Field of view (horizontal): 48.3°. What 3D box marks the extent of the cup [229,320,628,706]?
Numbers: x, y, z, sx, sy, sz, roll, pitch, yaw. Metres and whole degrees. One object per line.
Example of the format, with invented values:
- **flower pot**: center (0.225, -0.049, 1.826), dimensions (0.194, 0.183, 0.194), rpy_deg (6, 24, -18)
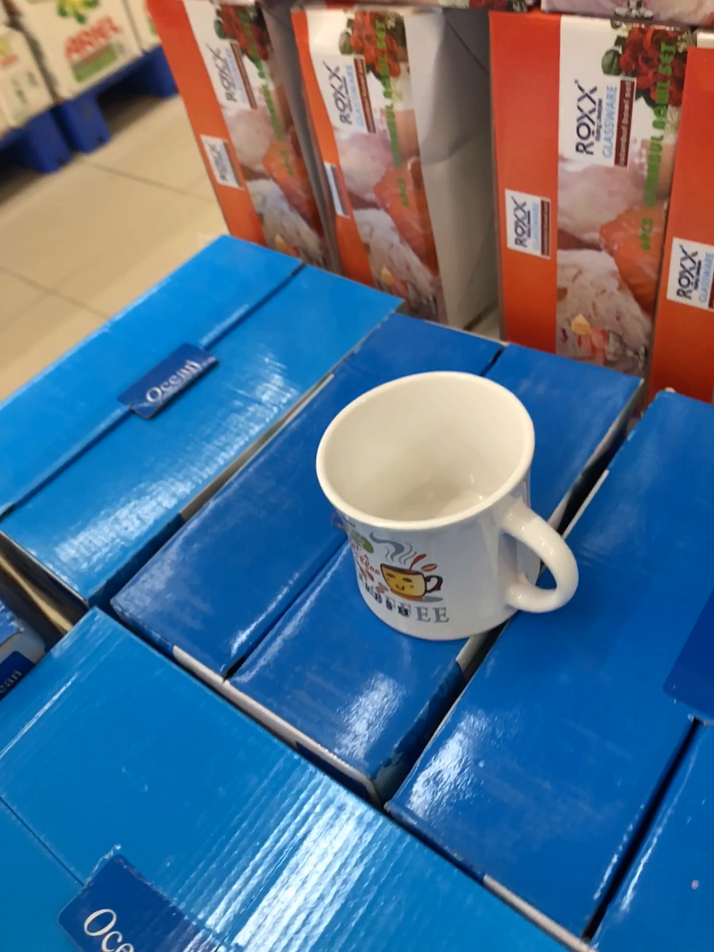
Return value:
- **cup**: center (0.026, 0.009, 0.269), dimensions (0.100, 0.070, 0.070), rpy_deg (26, 61, 30)
